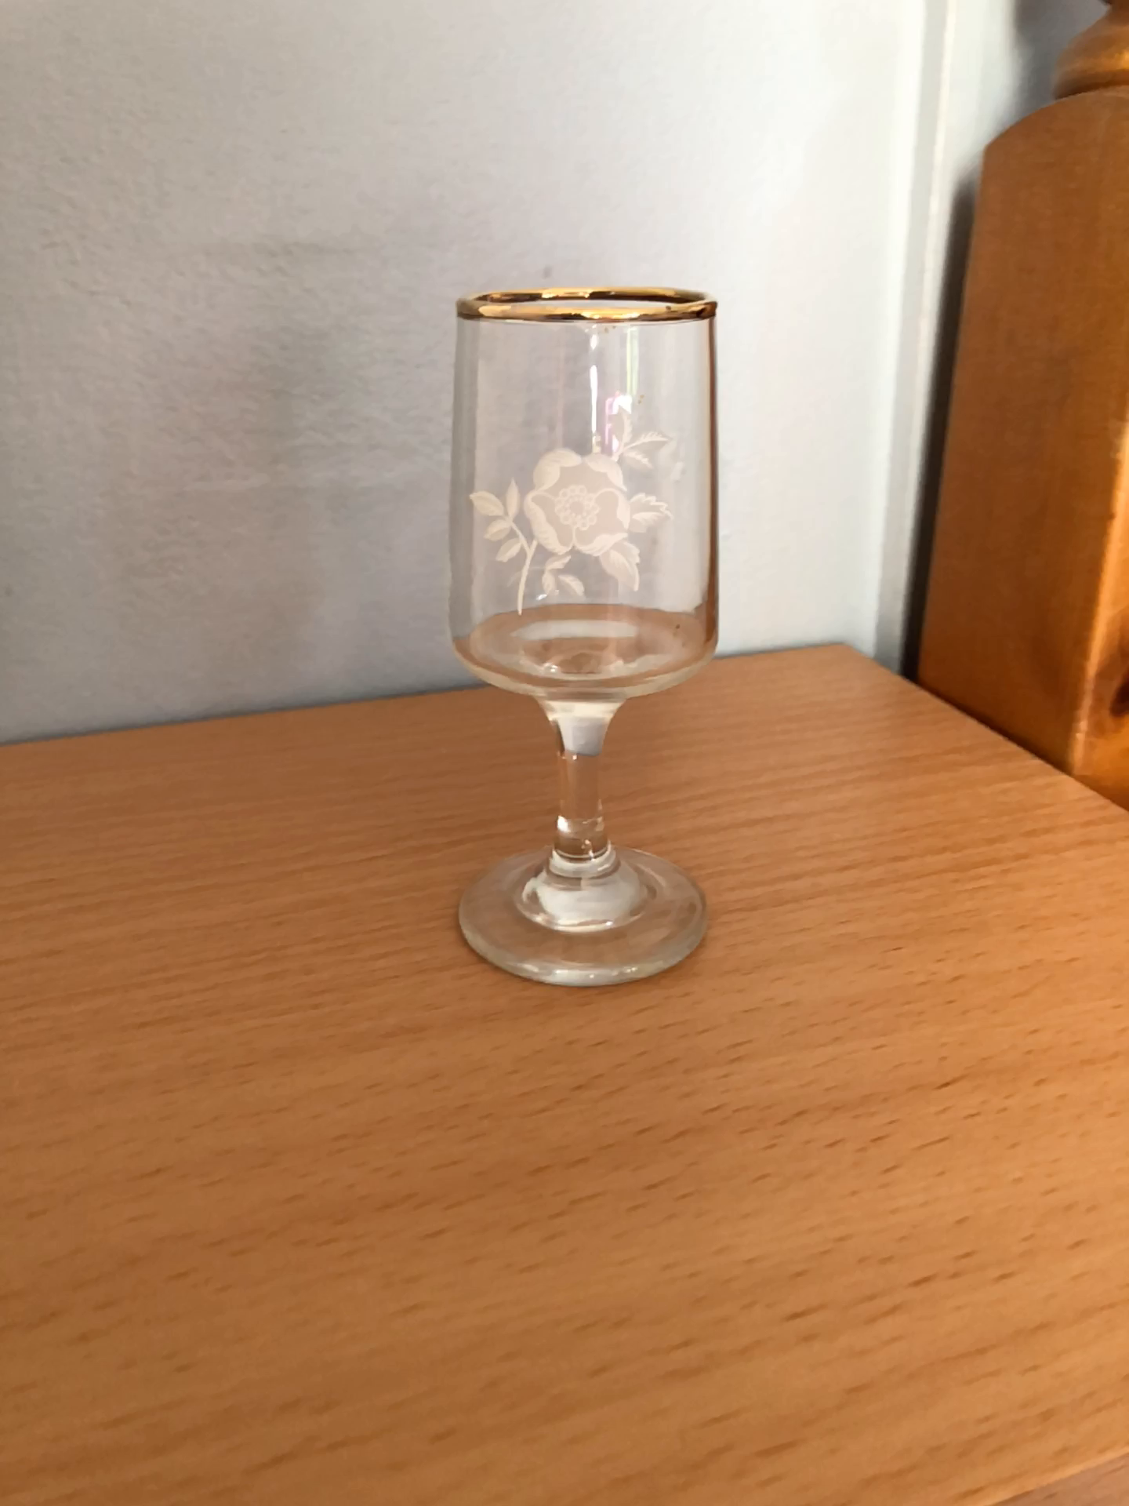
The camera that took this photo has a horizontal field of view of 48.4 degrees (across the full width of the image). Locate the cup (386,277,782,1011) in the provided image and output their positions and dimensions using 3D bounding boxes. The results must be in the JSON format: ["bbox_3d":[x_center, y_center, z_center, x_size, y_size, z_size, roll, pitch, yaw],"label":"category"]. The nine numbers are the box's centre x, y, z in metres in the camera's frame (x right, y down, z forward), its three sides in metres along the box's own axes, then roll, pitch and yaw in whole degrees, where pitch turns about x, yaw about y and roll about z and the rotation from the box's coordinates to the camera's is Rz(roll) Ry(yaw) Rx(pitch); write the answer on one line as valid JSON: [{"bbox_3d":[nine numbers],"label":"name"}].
[{"bbox_3d":[0.006,-0.021,0.210,0.052,0.108,0.056,0,23,0],"label":"cup"}]
